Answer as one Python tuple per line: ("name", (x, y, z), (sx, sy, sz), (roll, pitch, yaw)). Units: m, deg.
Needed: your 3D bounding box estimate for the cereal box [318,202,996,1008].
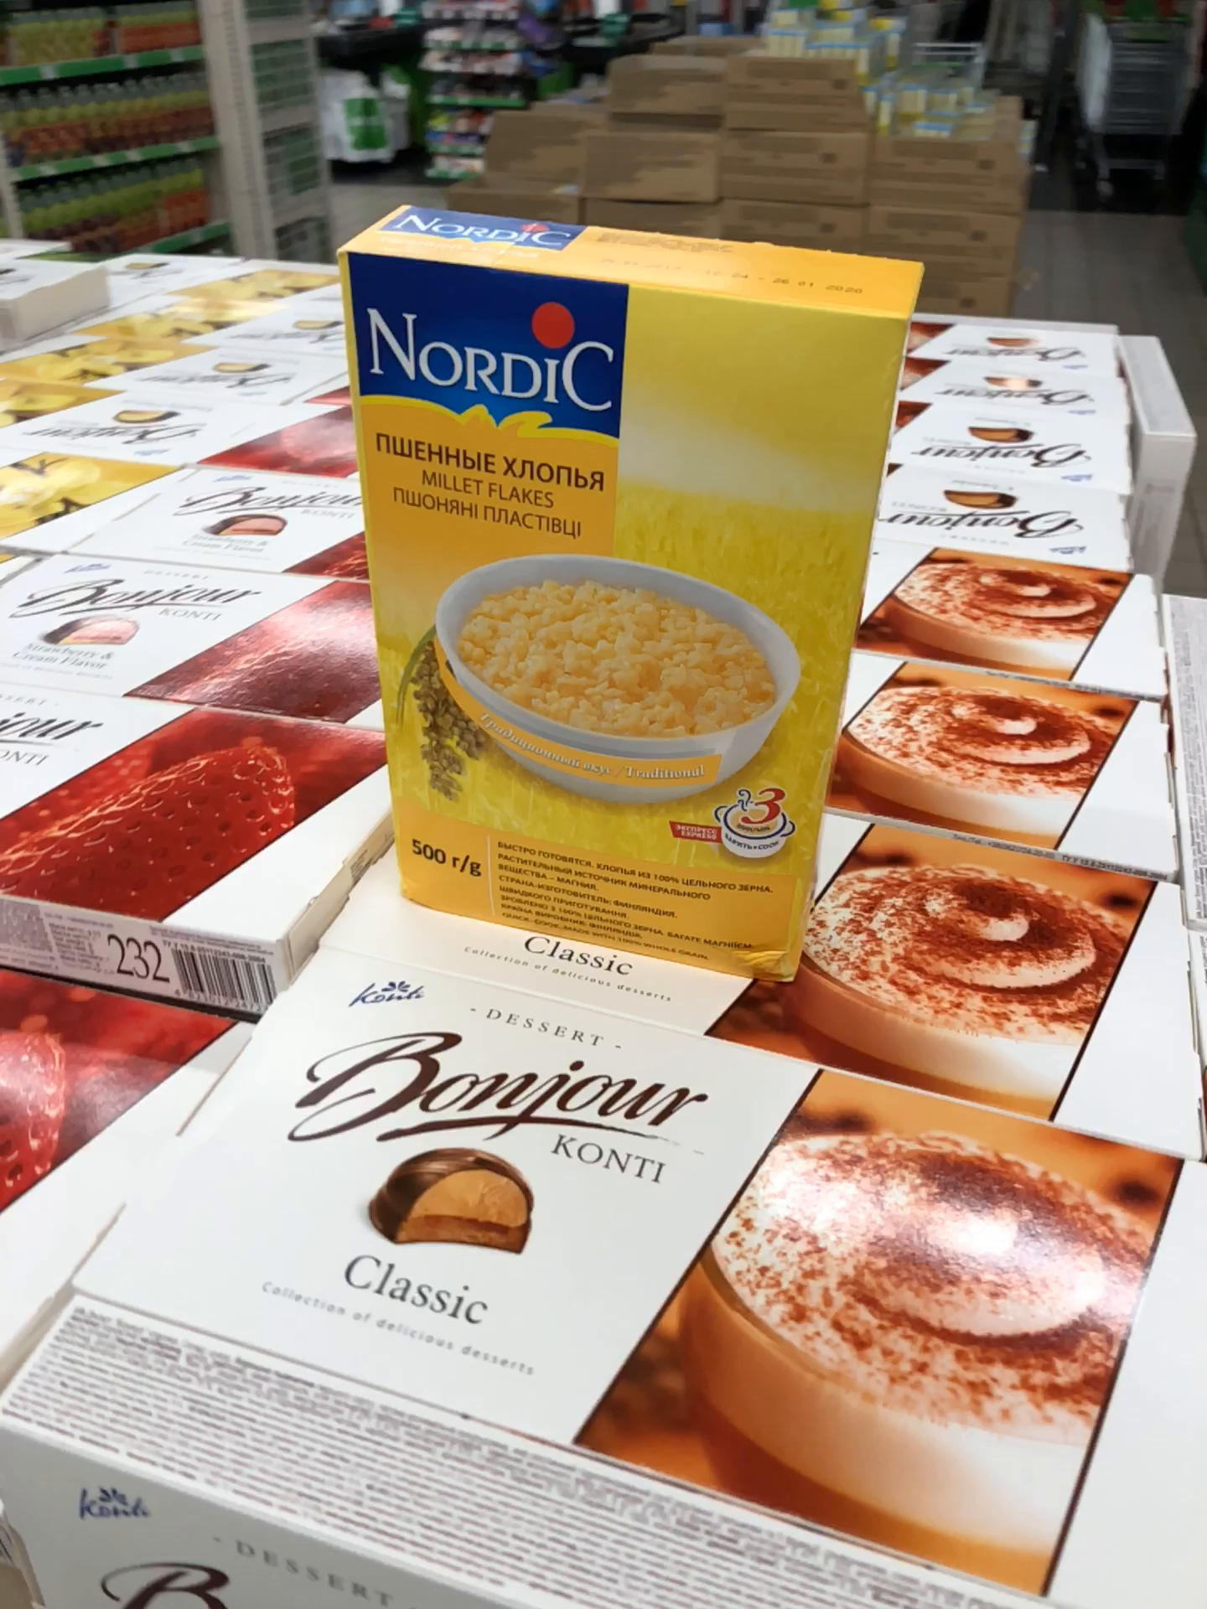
("cereal box", (0.012, -0.049, 0.395), (0.160, 0.218, 0.050), (11, 40, 11))
